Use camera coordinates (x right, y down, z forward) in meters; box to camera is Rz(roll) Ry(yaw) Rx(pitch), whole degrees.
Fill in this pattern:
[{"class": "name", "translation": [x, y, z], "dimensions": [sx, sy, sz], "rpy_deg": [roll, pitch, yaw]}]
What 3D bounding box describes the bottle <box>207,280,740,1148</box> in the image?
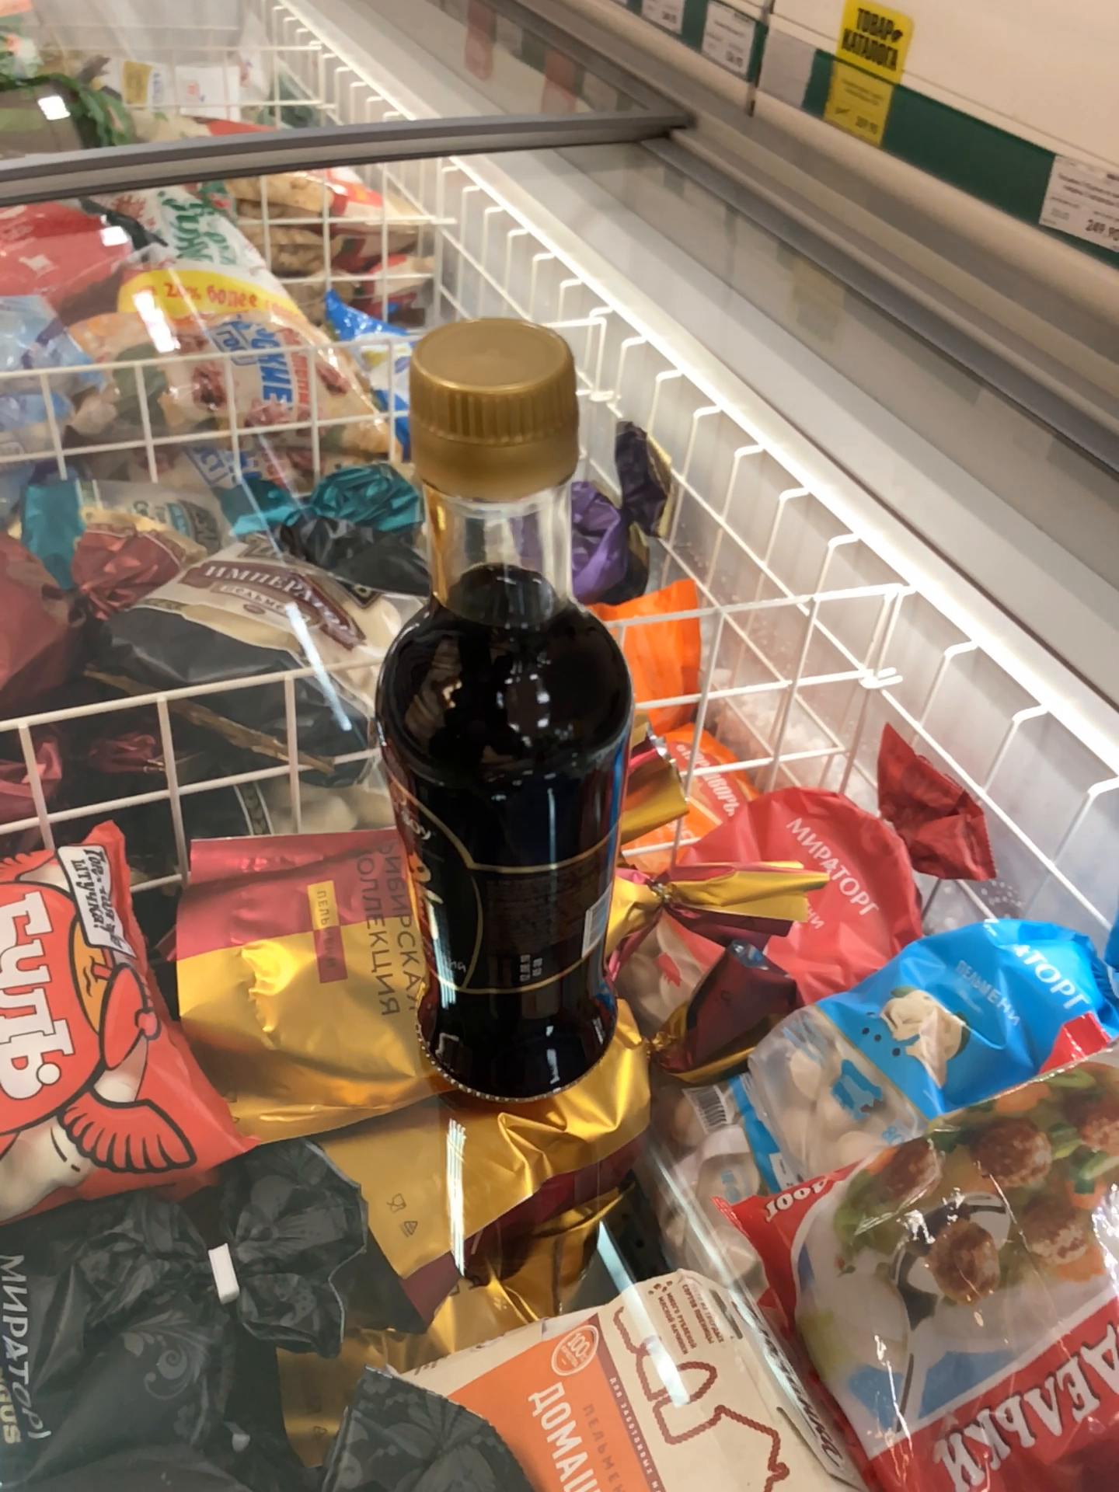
[{"class": "bottle", "translation": [-0.025, 0.001, 0.281], "dimensions": [0.070, 0.179, 0.070], "rpy_deg": [4, 42, -4]}]
